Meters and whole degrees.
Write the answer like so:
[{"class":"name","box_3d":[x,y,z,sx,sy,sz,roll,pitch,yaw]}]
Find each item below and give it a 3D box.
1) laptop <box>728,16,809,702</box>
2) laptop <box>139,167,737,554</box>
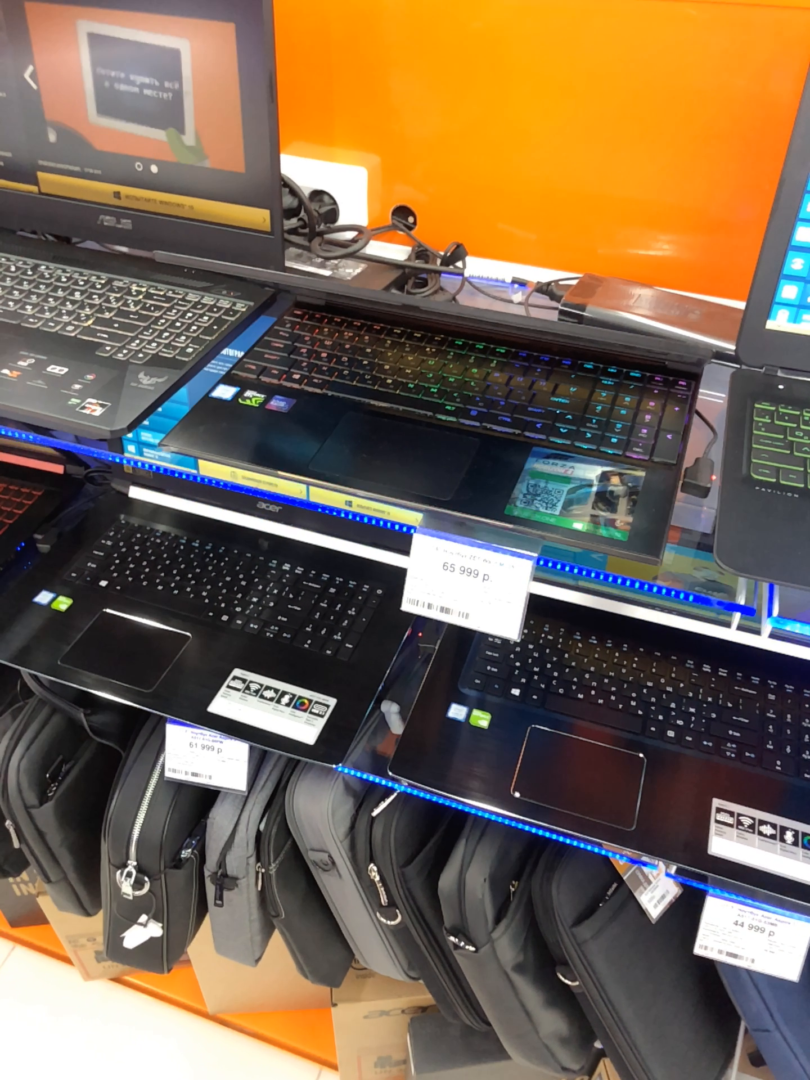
[{"class":"laptop","box_3d":[0.408,-0.140,0.551,0.334,0.252,0.308,13,42,14]},{"class":"laptop","box_3d":[0.034,-0.151,0.654,0.359,0.118,0.234,13,44,15]}]
